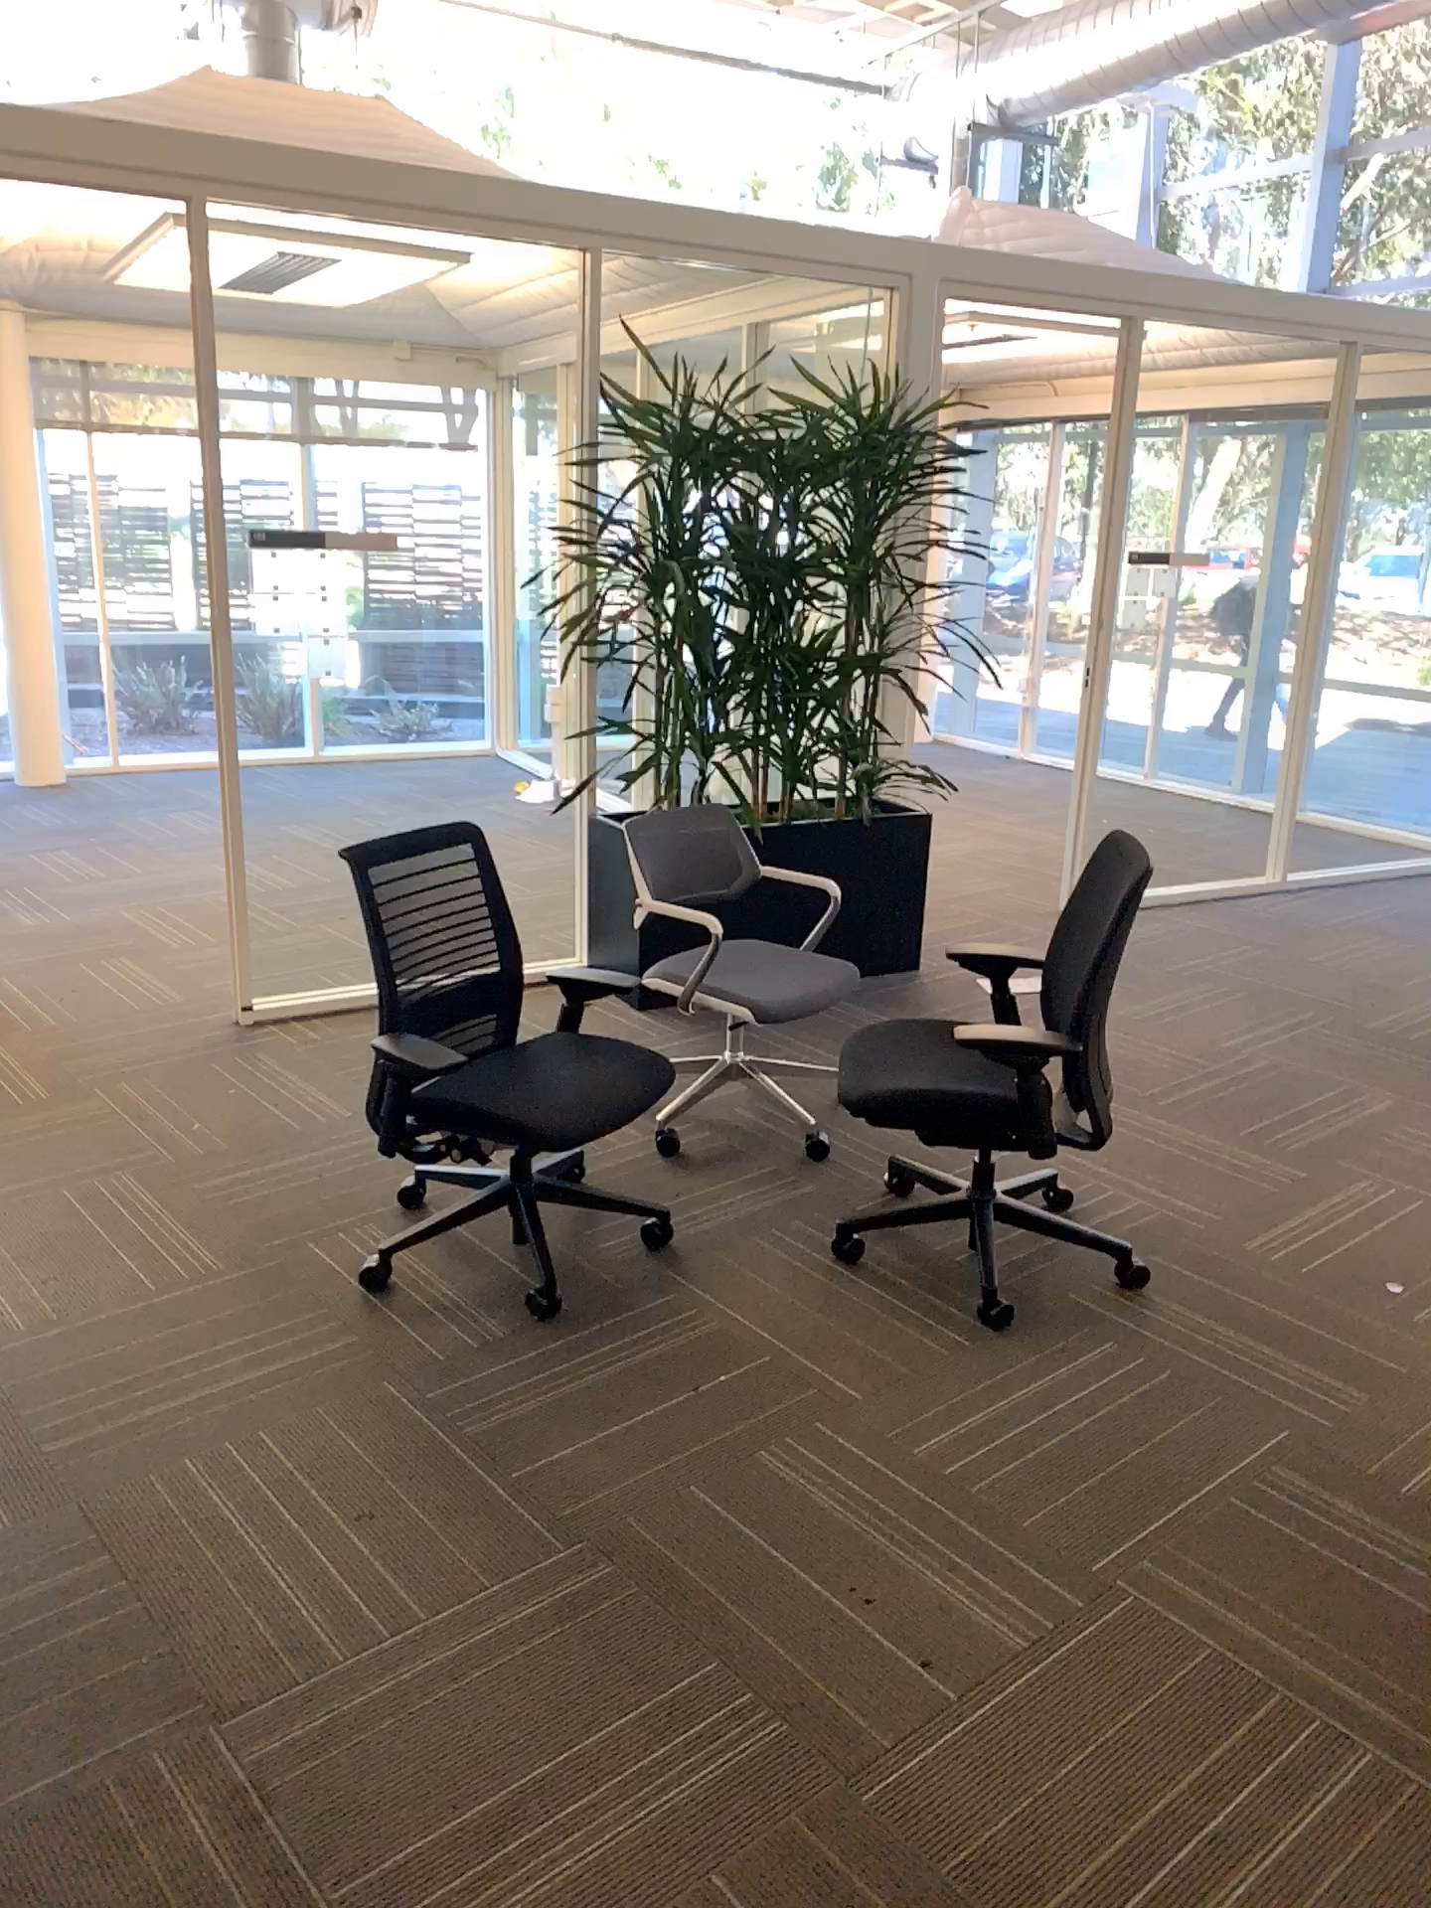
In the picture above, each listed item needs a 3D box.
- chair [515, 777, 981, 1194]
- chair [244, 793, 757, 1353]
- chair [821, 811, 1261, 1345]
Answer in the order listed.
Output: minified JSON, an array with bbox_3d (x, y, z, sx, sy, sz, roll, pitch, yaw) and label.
[{"bbox_3d":[0.073,0.016,4.003,0.923,0.797,0.841,16,21,40],"label":"chair"},{"bbox_3d":[-0.441,0.186,3.193,0.722,0.886,0.812,11,18,29],"label":"chair"},{"bbox_3d":[0.640,0.219,3.239,0.760,0.886,0.853,3,16,3],"label":"chair"}]
